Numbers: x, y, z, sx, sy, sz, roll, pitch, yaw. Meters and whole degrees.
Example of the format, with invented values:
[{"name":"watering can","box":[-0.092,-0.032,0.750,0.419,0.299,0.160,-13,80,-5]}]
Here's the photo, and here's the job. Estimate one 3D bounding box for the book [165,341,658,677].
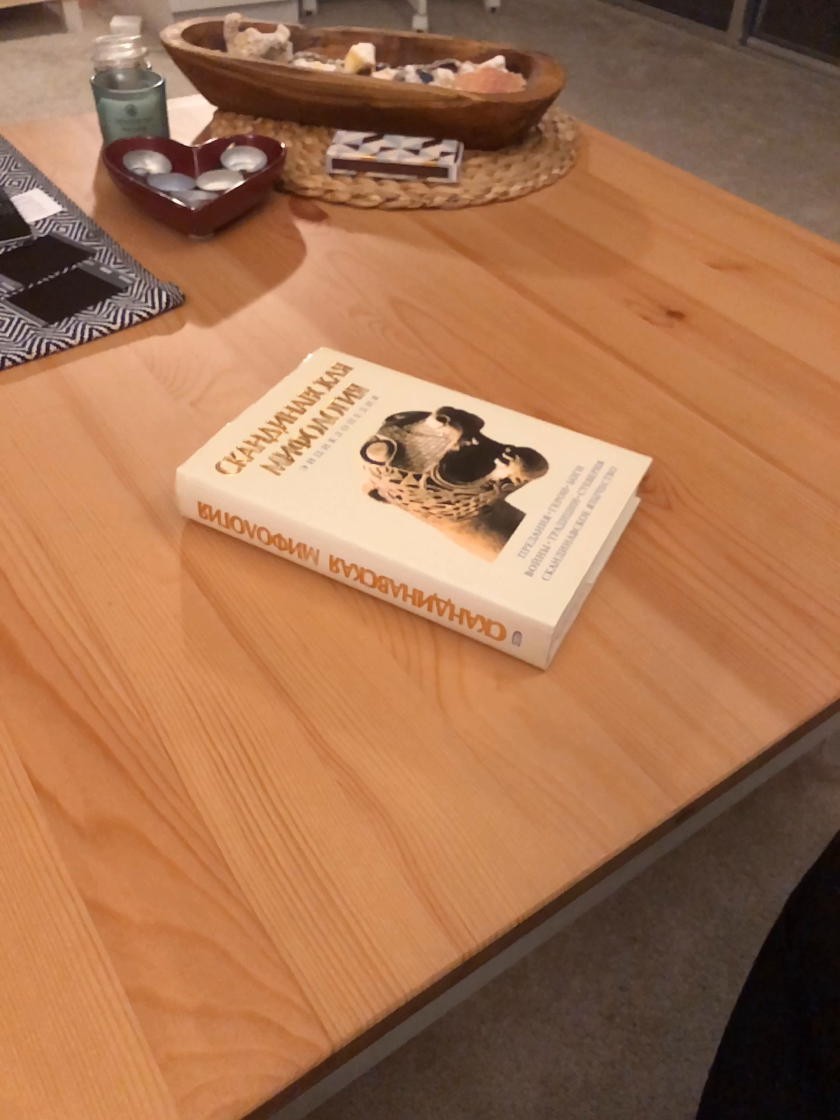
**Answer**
[{"name":"book","box":[-0.001,-0.040,0.502,0.215,0.030,0.151,22,47,18]}]
